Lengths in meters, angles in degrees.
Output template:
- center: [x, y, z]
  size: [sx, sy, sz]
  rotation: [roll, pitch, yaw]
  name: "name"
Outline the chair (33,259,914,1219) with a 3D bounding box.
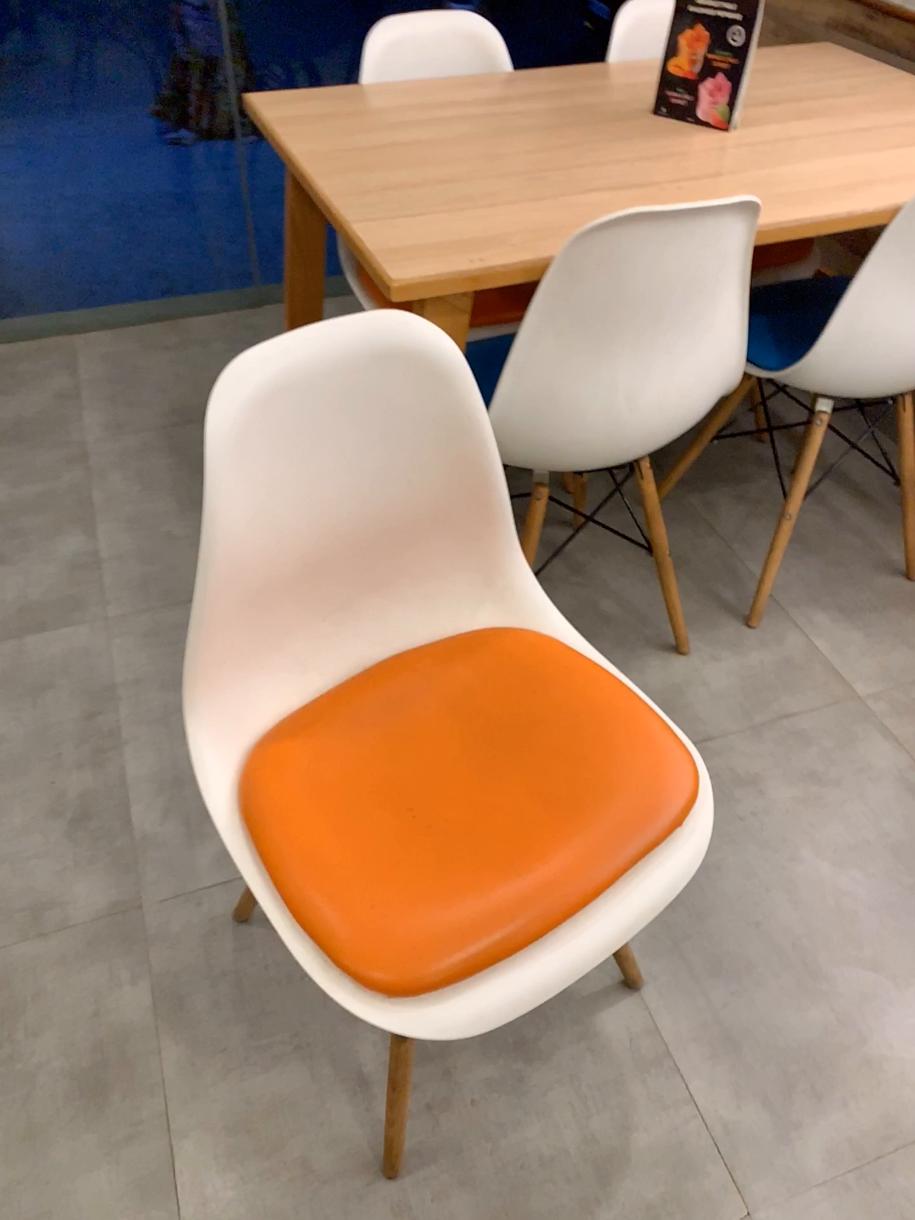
- center: [-0.016, 0.131, 0.939]
  size: [0.471, 0.704, 0.483]
  rotation: [-23, 48, -25]
  name: "chair"
